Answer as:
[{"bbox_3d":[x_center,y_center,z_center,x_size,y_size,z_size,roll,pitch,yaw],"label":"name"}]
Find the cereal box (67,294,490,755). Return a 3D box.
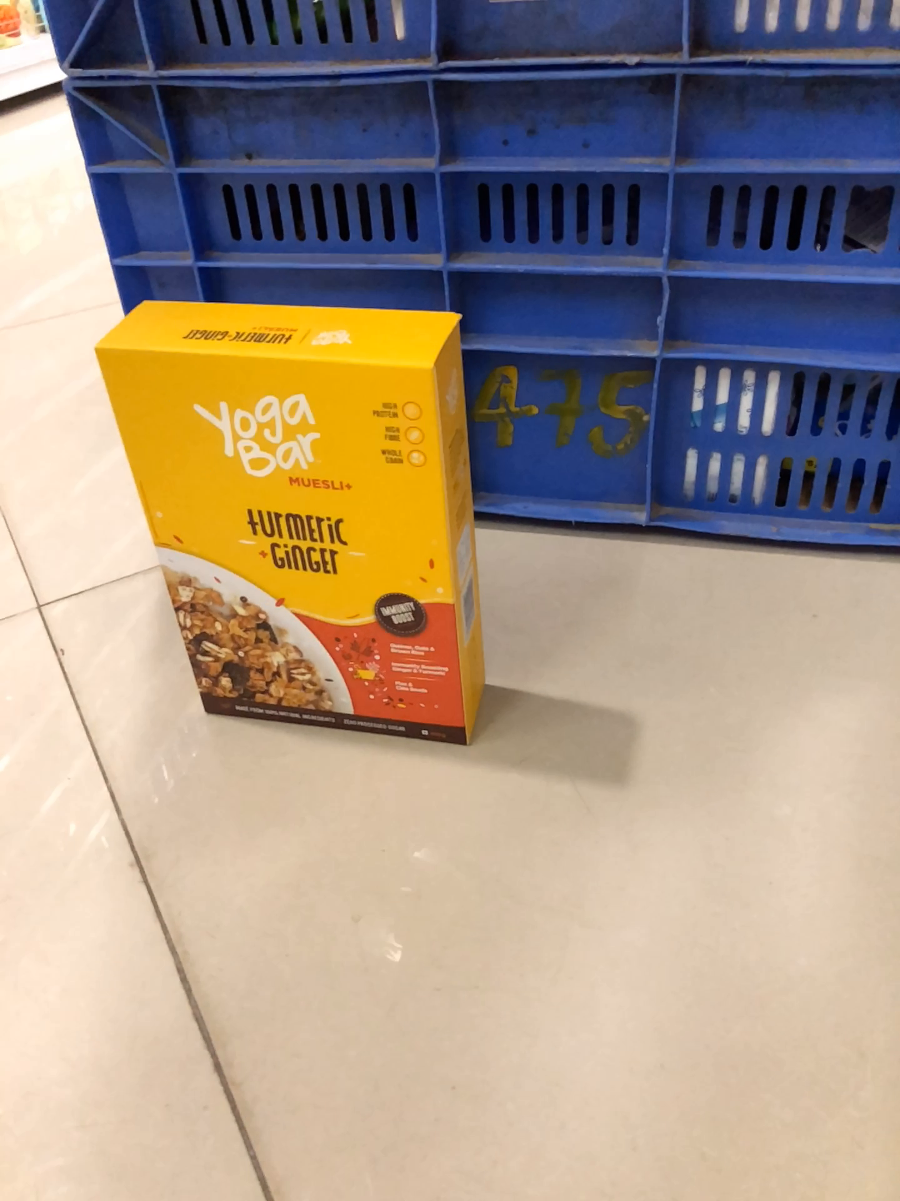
[{"bbox_3d":[-0.074,-0.034,0.515,0.170,0.228,0.060,6,38,14],"label":"cereal box"}]
